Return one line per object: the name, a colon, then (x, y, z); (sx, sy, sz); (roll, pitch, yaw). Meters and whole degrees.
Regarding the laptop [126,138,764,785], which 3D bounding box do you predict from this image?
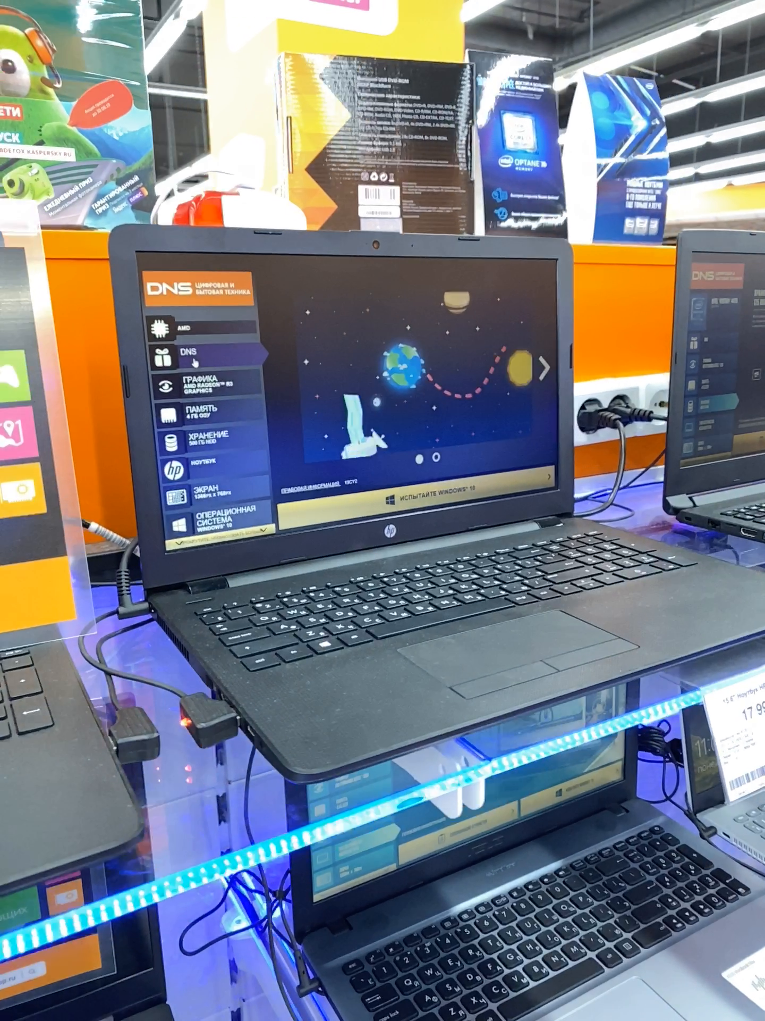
laptop: (0.069, -0.058, 0.484); (0.369, 0.231, 0.272); (-8, 15, -29)
